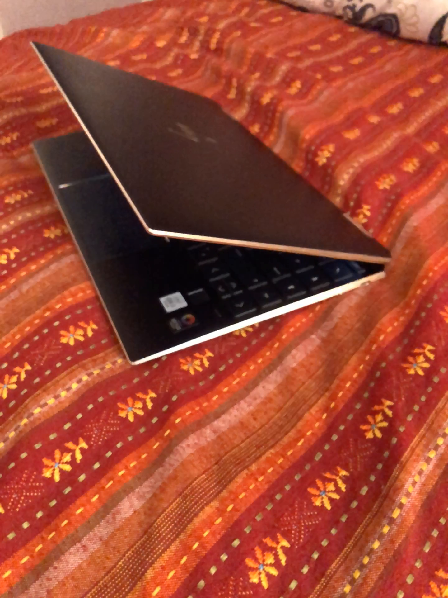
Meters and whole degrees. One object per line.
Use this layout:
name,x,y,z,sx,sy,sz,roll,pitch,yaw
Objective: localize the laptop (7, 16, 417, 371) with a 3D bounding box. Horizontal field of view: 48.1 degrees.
laptop,-0.036,-0.128,0.401,0.203,0.101,0.327,-17,44,-21
